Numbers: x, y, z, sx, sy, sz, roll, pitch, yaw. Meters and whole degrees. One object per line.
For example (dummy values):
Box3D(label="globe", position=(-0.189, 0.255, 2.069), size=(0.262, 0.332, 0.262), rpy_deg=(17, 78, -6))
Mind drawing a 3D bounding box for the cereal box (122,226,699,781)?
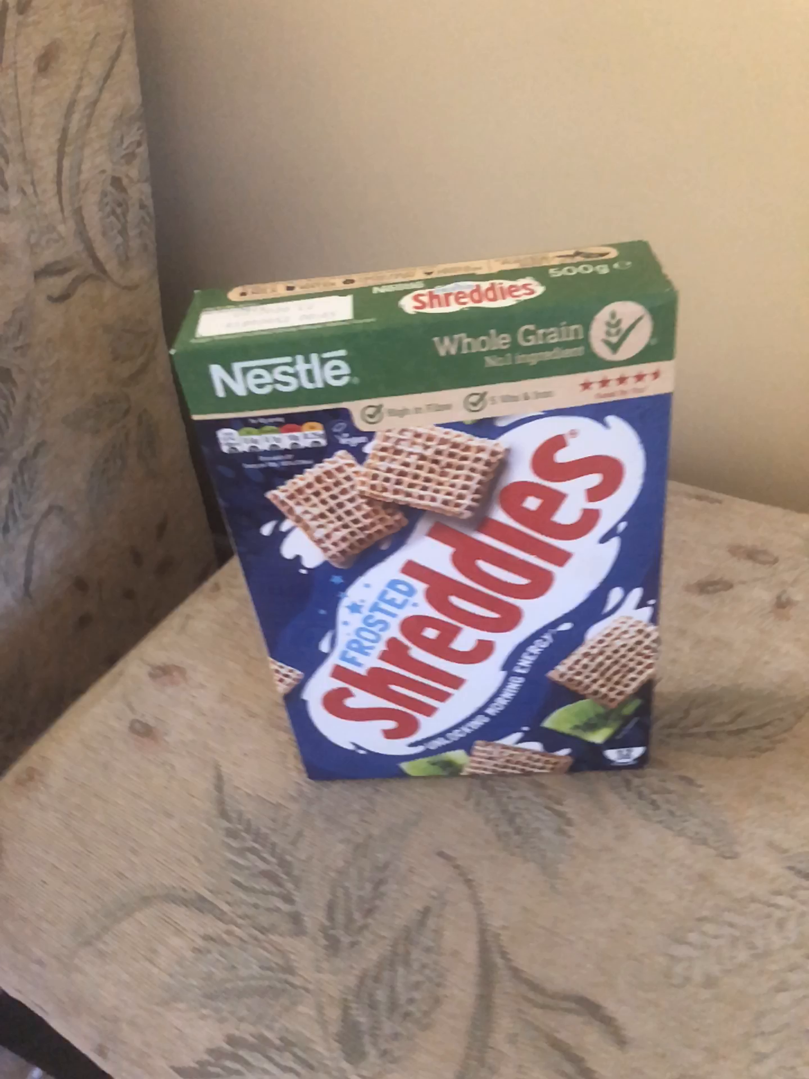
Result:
Box3D(label="cereal box", position=(0.015, 0.005, 0.413), size=(0.200, 0.258, 0.060), rpy_deg=(-4, 39, 6))
